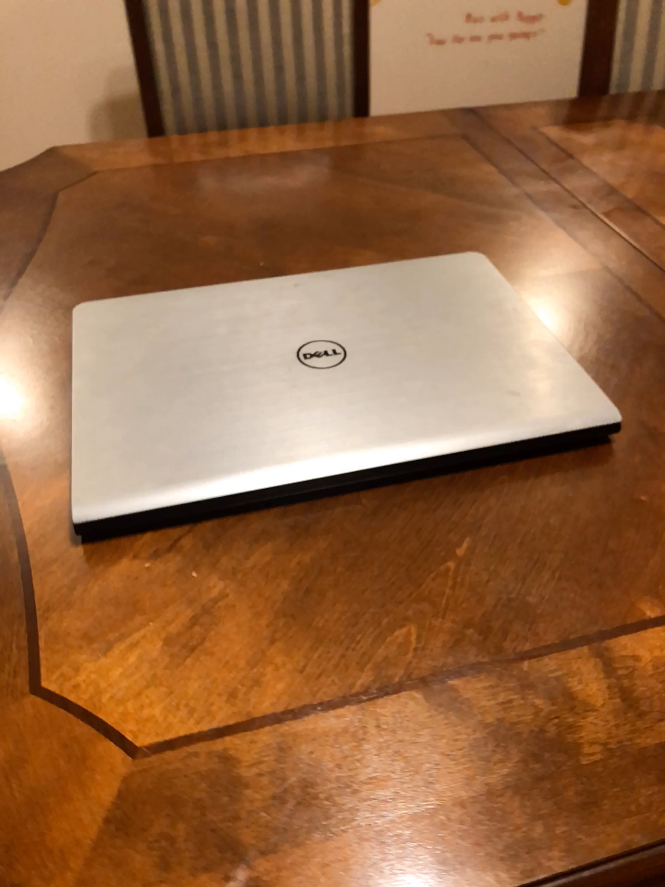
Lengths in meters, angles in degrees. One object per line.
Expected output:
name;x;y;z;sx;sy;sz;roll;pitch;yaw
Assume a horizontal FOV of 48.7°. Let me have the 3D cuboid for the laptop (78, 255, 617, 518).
laptop;-0.008;-0.066;0.568;0.363;0.002;0.245;-10;43;-11
